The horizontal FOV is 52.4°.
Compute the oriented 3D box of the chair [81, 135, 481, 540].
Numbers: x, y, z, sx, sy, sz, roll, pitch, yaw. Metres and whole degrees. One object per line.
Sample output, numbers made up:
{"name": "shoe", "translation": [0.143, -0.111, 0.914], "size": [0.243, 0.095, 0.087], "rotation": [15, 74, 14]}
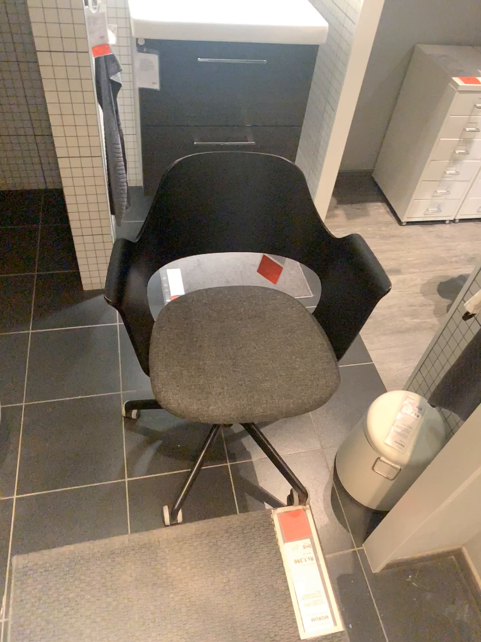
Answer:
{"name": "chair", "translation": [0.003, 0.047, 1.195], "size": [0.640, 0.737, 0.602], "rotation": [-5, 49, -12]}
